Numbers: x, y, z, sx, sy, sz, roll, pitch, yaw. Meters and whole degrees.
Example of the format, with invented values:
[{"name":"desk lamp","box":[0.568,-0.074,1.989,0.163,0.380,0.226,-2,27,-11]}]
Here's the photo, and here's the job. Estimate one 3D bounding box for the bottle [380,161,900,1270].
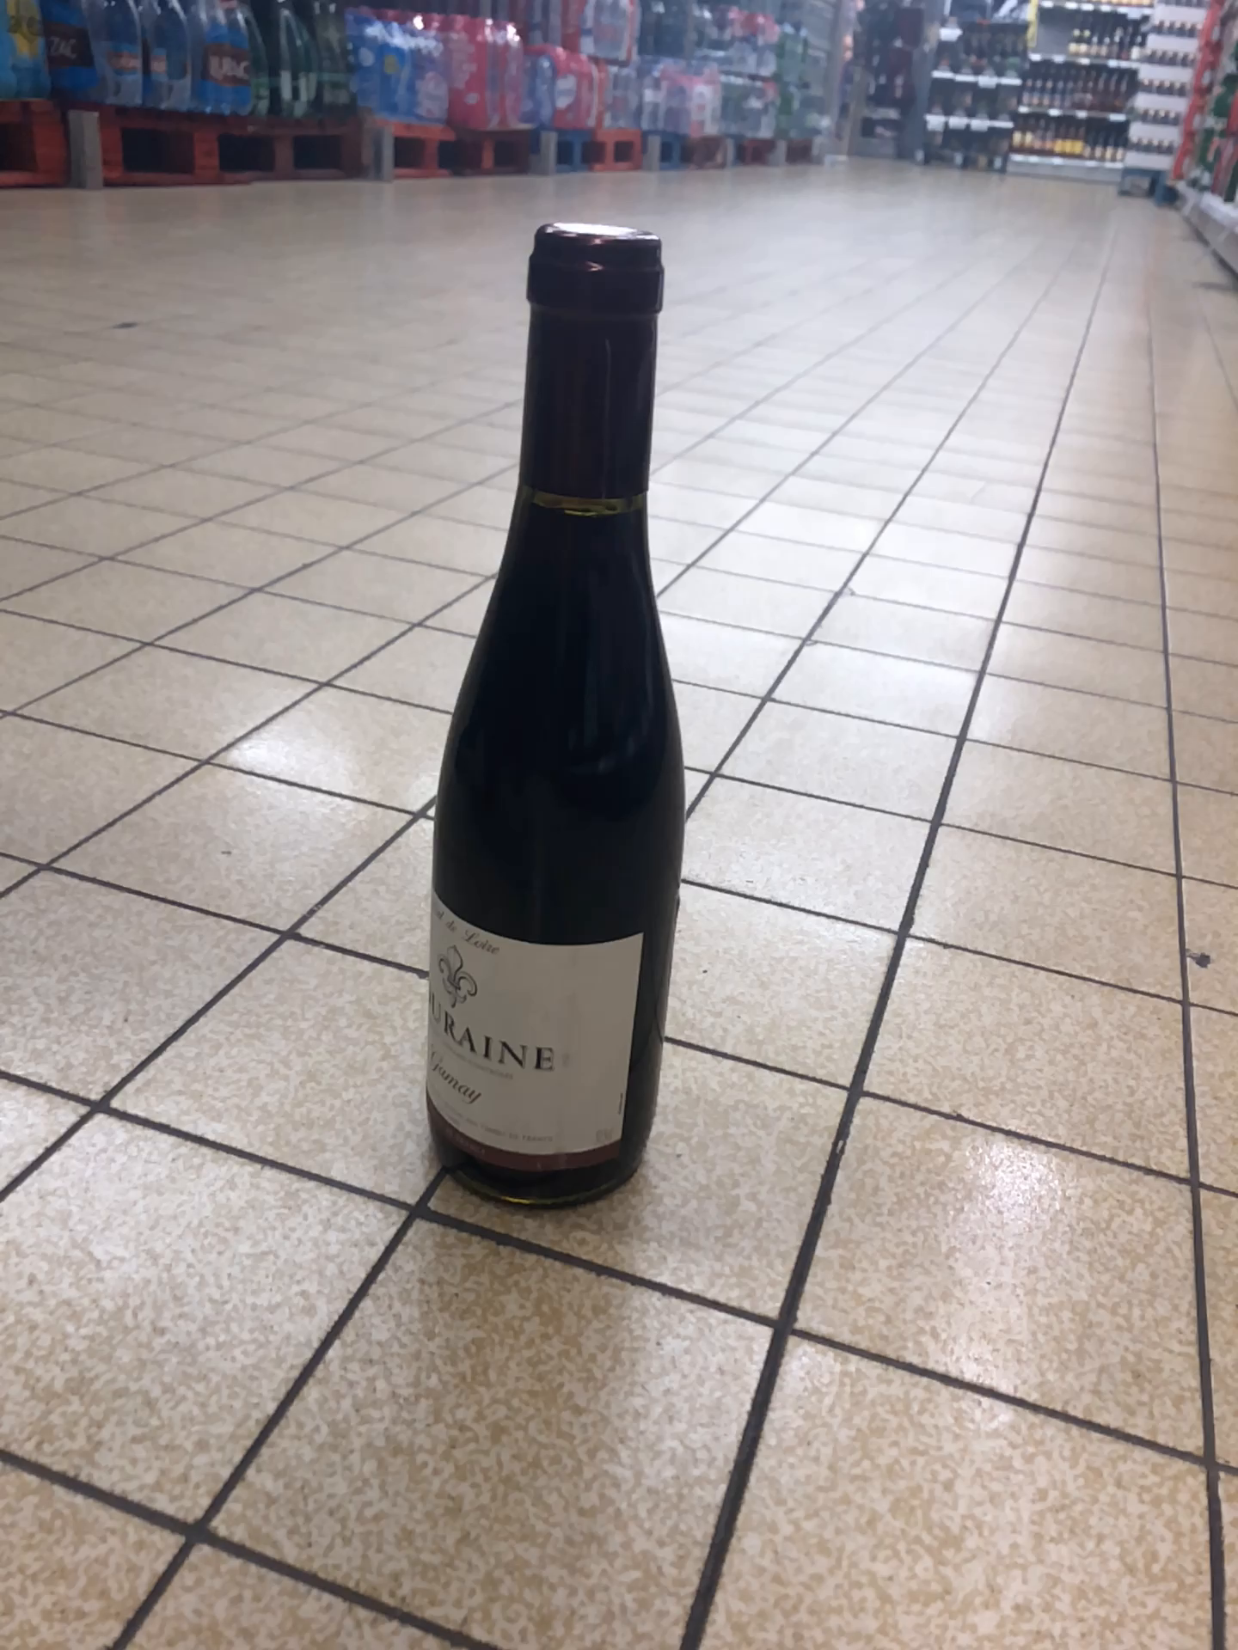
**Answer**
[{"name":"bottle","box":[-0.007,-0.021,0.326,0.070,0.239,0.080,-12,31,-31]}]
